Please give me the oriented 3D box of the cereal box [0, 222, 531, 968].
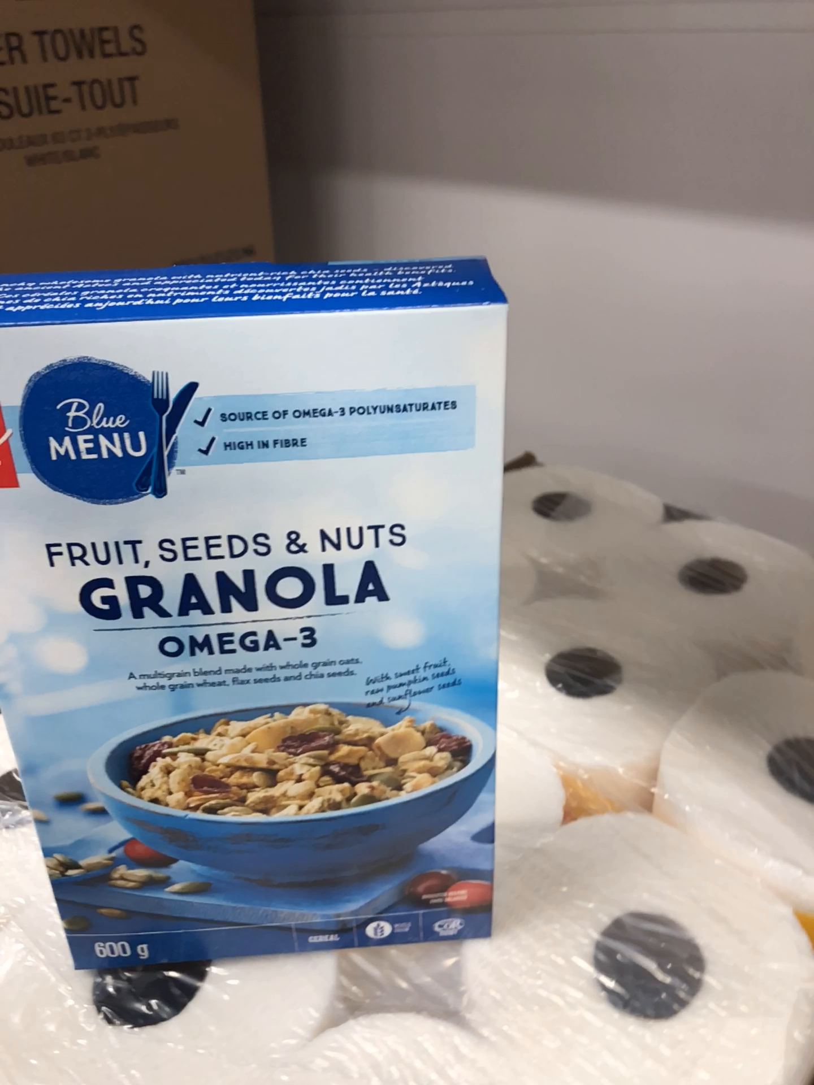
[{"bbox_3d":[-0.046,0.029,0.299,0.160,0.239,0.060,-3,28,-1],"label":"cereal box"}]
